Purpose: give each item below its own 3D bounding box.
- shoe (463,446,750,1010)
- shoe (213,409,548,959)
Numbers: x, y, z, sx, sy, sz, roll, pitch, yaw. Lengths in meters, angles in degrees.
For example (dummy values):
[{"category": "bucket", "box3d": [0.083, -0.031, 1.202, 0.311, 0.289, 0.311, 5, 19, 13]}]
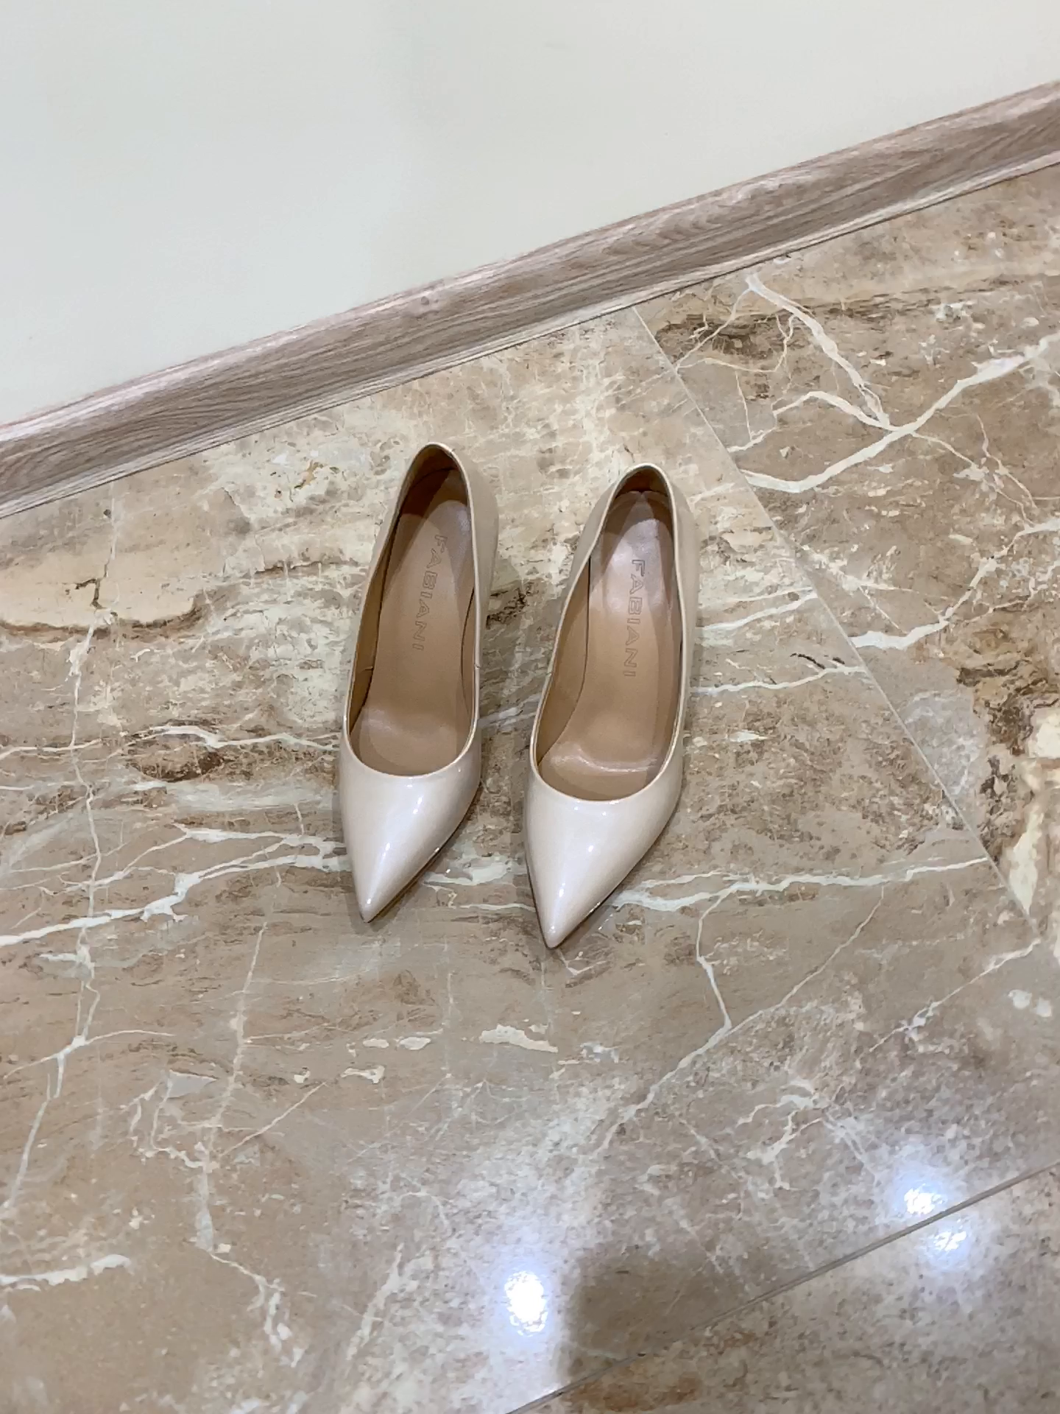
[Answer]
[{"category": "shoe", "box3d": [0.044, 0.007, 0.527, 0.090, 0.110, 0.241, 8, 62, 8]}, {"category": "shoe", "box3d": [-0.060, -0.014, 0.547, 0.090, 0.120, 0.241, 8, 62, 8]}]
